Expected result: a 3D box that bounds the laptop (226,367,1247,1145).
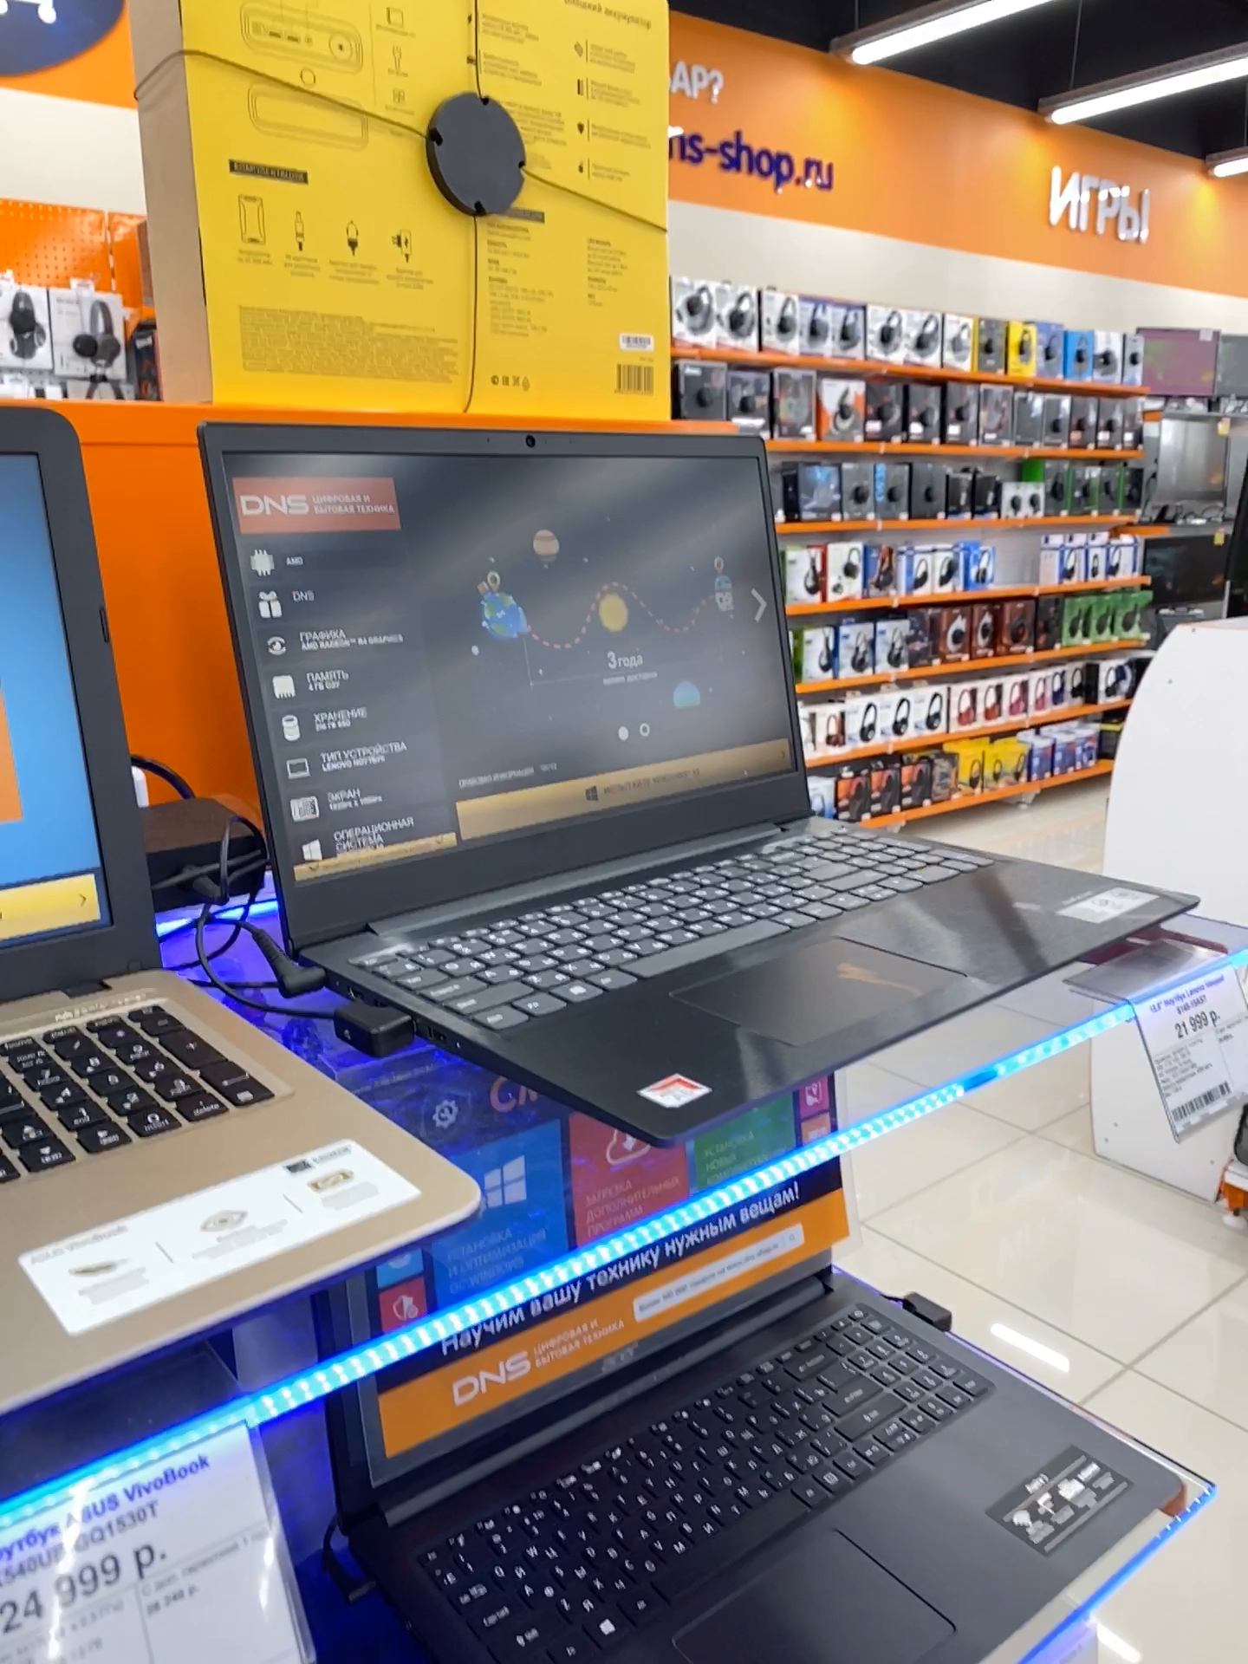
[{"bbox_3d":[0.055,-0.073,0.601,0.359,0.233,0.298,-13,18,-39],"label":"laptop"}]
